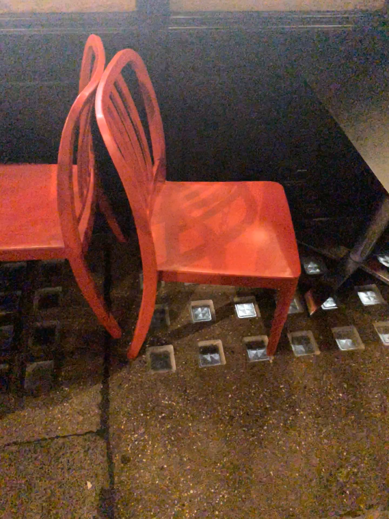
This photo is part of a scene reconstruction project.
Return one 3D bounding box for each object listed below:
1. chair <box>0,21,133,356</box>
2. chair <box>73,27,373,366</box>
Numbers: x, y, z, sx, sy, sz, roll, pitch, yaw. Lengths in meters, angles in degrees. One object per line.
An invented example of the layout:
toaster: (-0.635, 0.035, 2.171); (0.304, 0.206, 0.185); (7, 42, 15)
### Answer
chair: (-0.509, -0.186, 1.241); (0.540, 0.852, 0.545); (-4, 47, -7)
chair: (0.025, -0.156, 1.235); (0.560, 0.852, 0.575); (-2, 46, -5)
